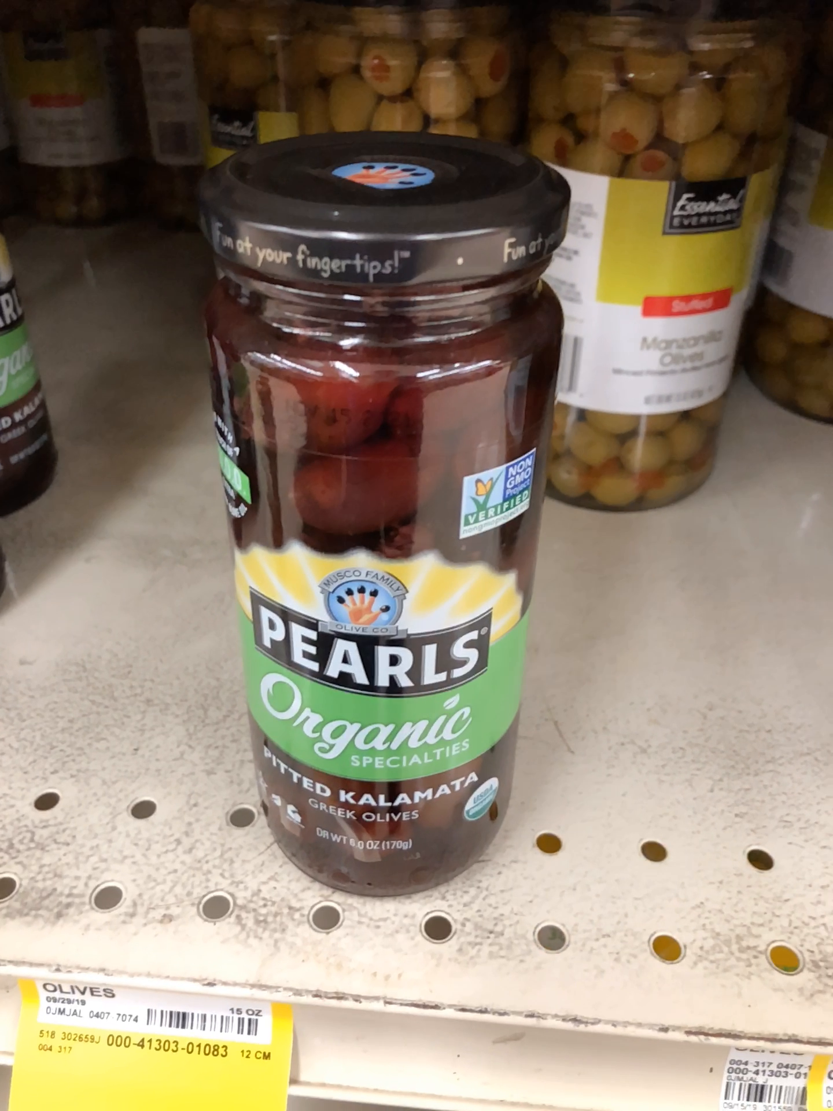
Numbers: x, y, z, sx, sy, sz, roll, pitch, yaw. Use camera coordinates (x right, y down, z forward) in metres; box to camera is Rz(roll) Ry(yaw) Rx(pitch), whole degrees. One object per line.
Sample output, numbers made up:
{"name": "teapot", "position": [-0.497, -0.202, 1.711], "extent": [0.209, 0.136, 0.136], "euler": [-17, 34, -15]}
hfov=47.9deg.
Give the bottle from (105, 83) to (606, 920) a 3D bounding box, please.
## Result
{"name": "bottle", "position": [-0.005, -0.003, 0.183], "extent": [0.063, 0.150, 0.060], "euler": [0, 37, 0]}
